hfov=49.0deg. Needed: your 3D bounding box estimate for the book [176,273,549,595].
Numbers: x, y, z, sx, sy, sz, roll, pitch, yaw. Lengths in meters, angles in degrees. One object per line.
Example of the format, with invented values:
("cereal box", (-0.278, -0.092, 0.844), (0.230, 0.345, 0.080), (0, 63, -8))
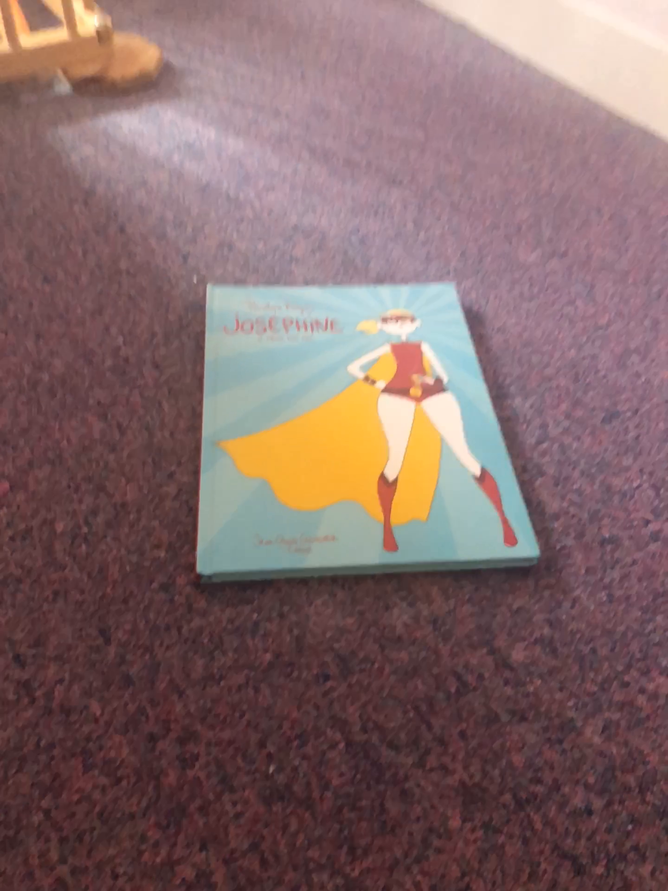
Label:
("book", (0.007, -0.032, 0.562), (0.234, 0.020, 0.308), (-1, 49, -6))
